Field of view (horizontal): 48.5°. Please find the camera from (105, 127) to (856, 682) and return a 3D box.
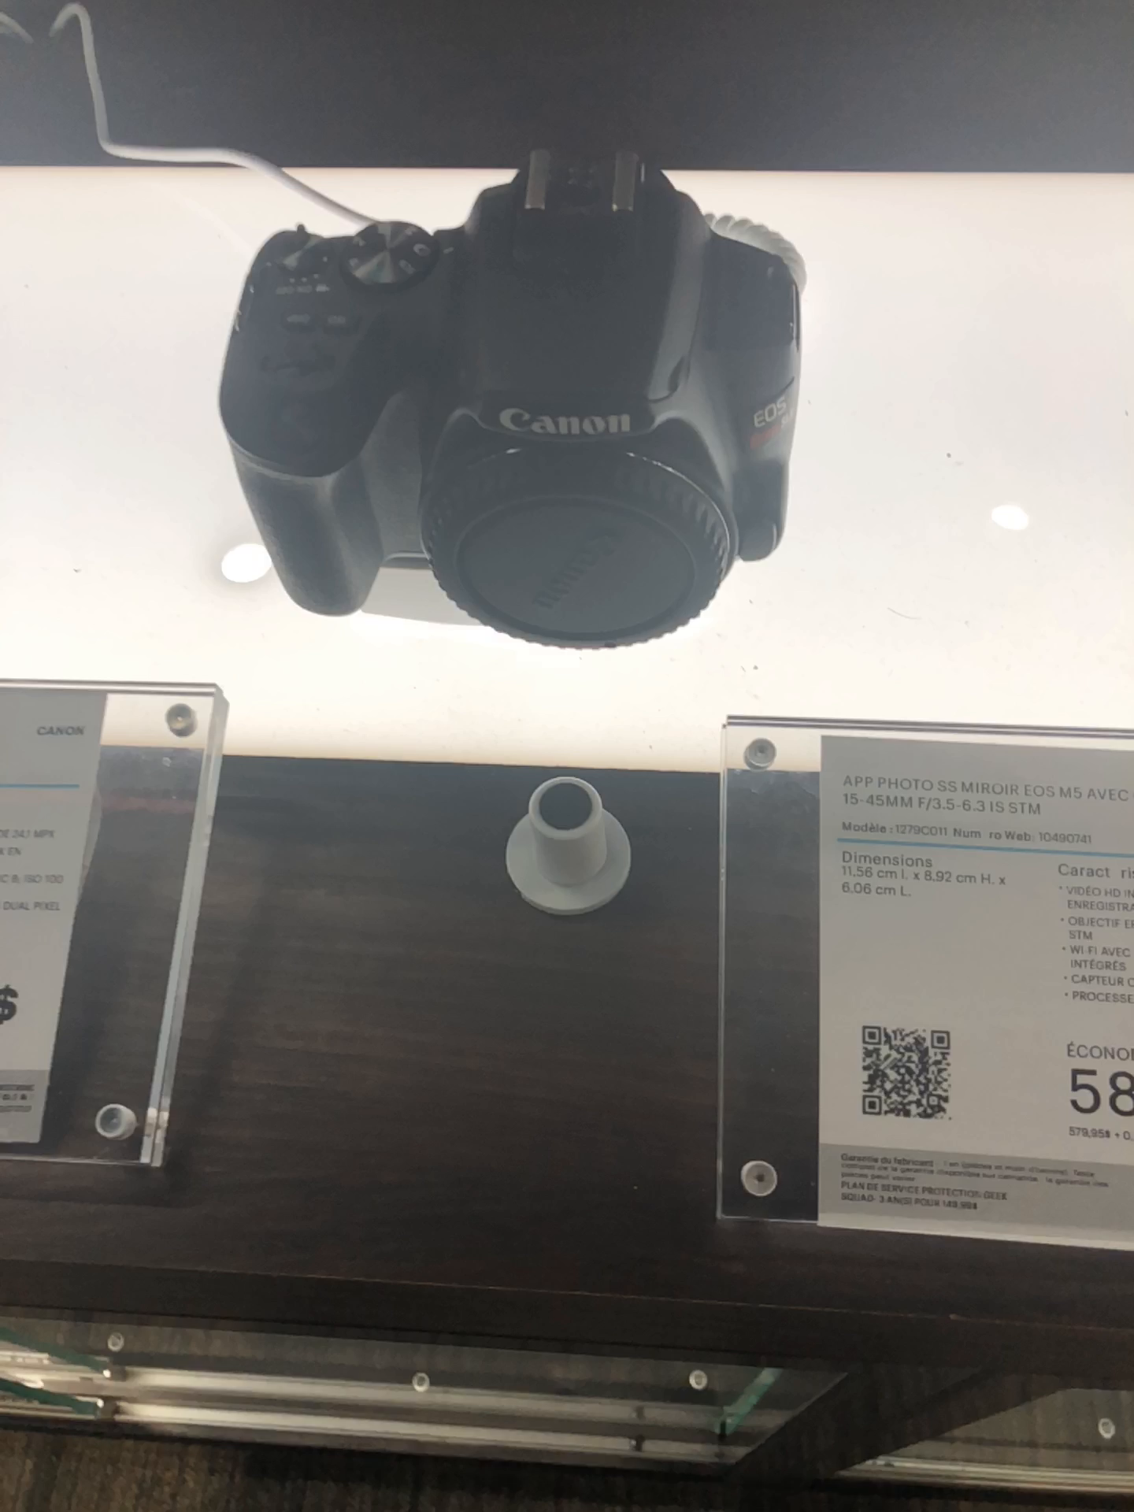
[{"bbox_3d":[-0.011,-0.071,0.256,0.123,0.071,0.081,2,57,4],"label":"camera"}]
